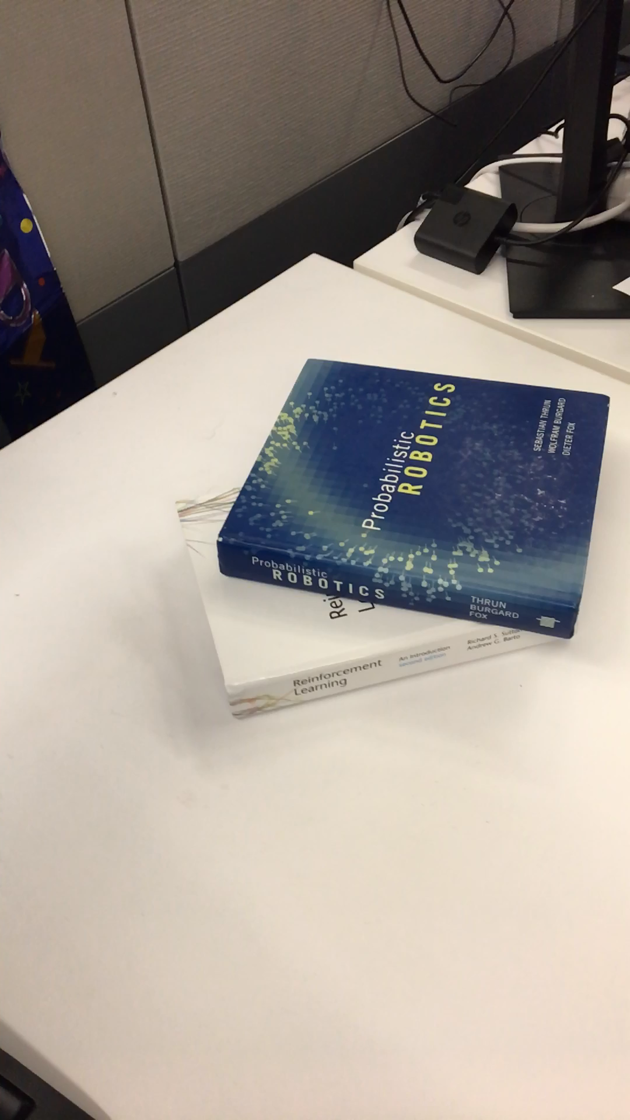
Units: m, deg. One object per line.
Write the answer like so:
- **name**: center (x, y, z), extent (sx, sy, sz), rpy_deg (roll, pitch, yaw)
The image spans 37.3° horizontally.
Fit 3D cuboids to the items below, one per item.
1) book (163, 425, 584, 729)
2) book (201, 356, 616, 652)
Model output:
- **book**: center (0.030, 0.001, 0.646), extent (0.240, 0.030, 0.190), rpy_deg (-13, 48, -8)
- **book**: center (0.073, -0.052, 0.645), extent (0.240, 0.030, 0.210), rpy_deg (10, 49, 13)
